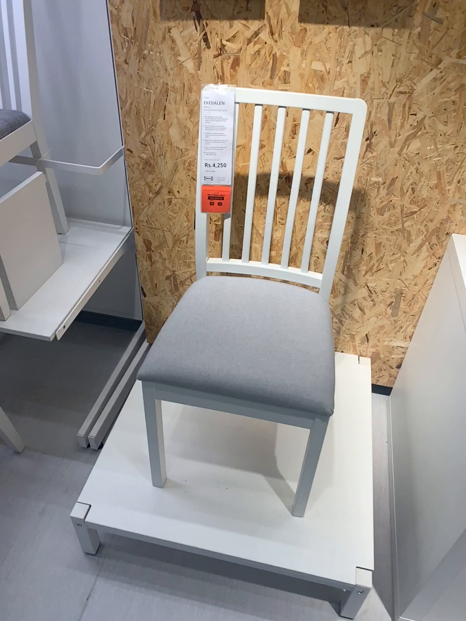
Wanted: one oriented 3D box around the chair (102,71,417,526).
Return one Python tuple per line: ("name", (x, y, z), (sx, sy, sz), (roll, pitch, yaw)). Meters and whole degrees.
("chair", (0.062, 0.015, 1.159), (0.450, 0.956, 0.492), (10, 41, 8))
